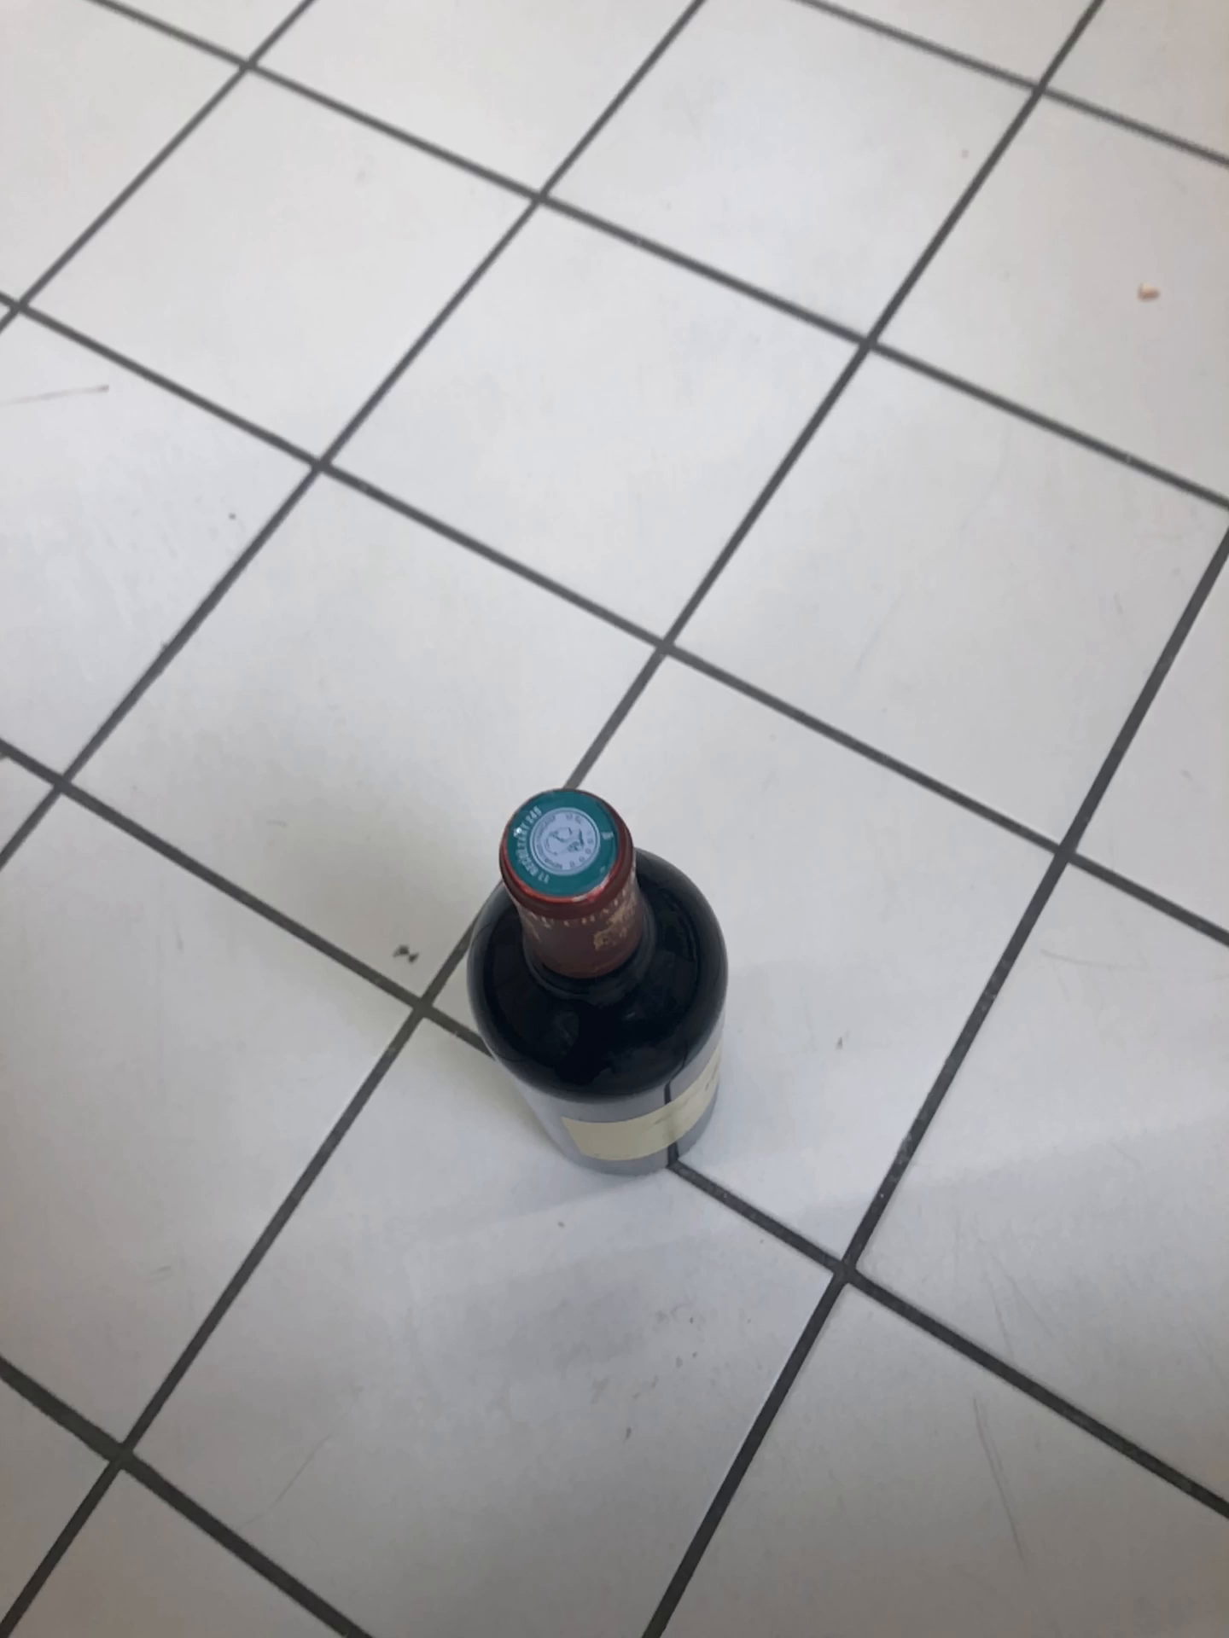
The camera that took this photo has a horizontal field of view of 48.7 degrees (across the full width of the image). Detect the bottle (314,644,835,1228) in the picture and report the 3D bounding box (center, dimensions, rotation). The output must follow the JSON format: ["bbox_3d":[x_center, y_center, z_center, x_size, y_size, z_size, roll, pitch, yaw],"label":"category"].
[{"bbox_3d":[-0.001,0.061,0.420,0.090,0.289,0.080,15,70,8],"label":"bottle"}]
